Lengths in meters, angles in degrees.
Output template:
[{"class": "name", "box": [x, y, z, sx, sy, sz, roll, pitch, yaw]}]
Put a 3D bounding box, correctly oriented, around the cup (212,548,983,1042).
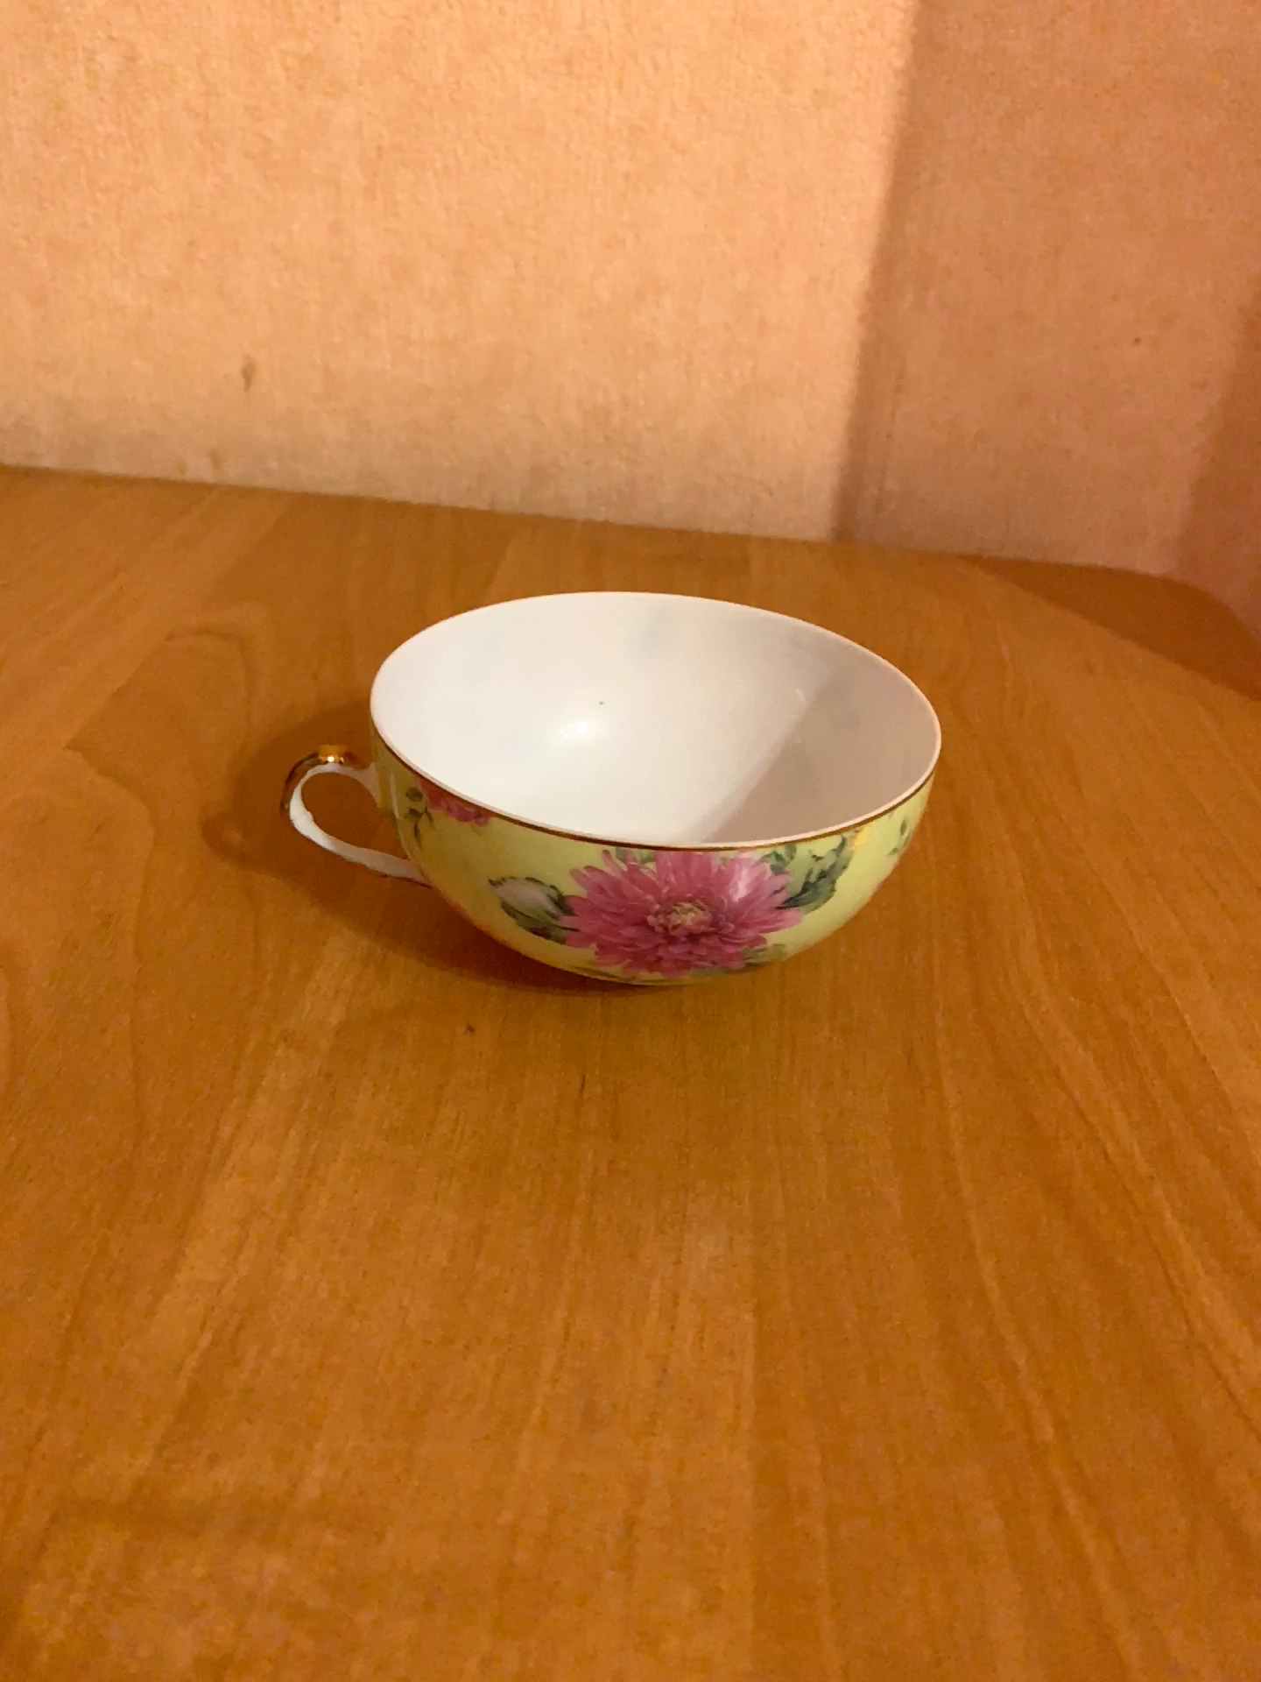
[{"class": "cup", "box": [-0.004, -0.013, 0.236, 0.113, 0.045, 0.079, 6, 31, 2]}]
